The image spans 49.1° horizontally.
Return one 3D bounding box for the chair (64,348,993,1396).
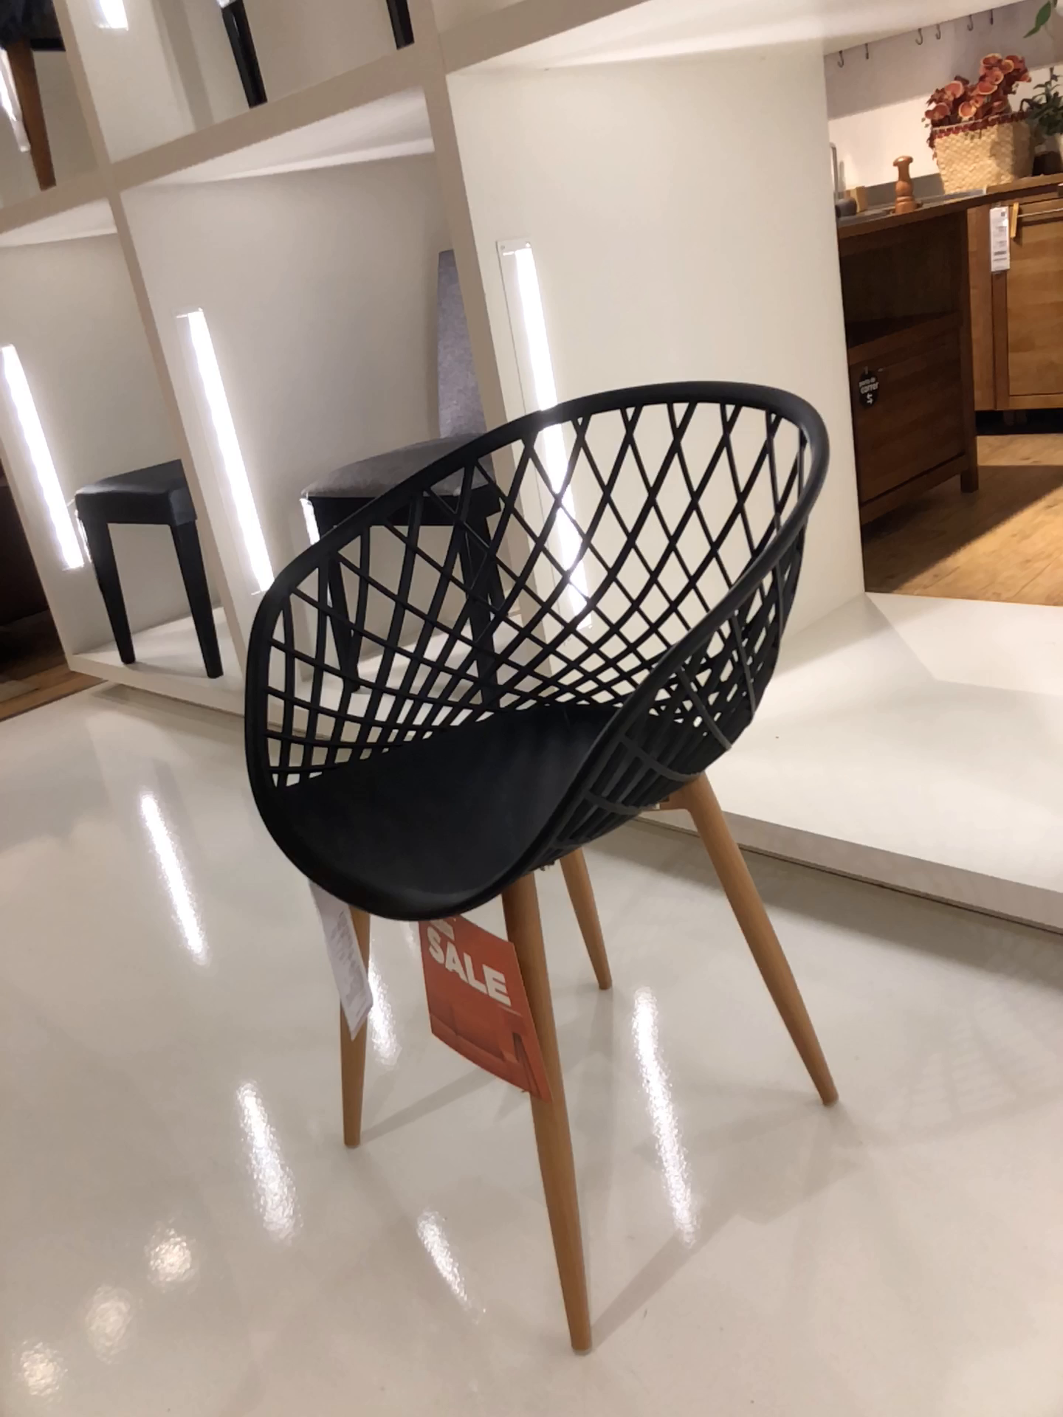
[{"bbox_3d":[0.017,0.062,1.210,0.602,0.706,0.622,-25,25,-34],"label":"chair"}]
